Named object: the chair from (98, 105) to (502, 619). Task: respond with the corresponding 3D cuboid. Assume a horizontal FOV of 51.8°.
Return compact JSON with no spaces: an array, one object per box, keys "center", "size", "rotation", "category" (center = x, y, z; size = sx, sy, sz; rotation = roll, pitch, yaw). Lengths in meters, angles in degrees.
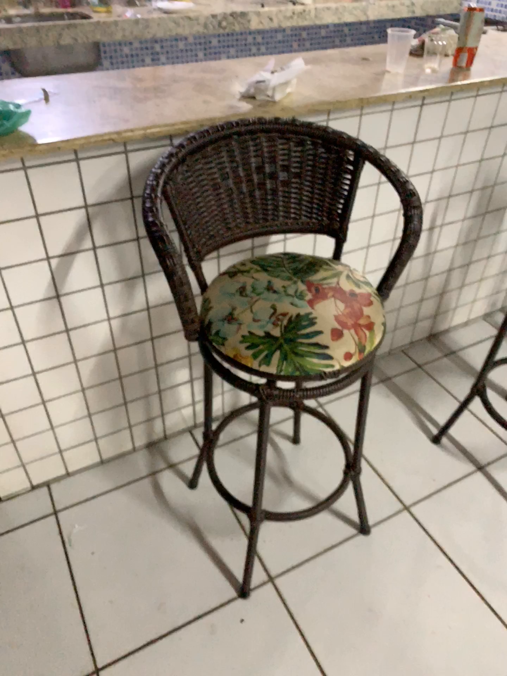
[{"center":[0.041,0.069,1.219],"size":[0.501,0.975,0.532],"rotation":[-18,42,-22],"category":"chair"}]
